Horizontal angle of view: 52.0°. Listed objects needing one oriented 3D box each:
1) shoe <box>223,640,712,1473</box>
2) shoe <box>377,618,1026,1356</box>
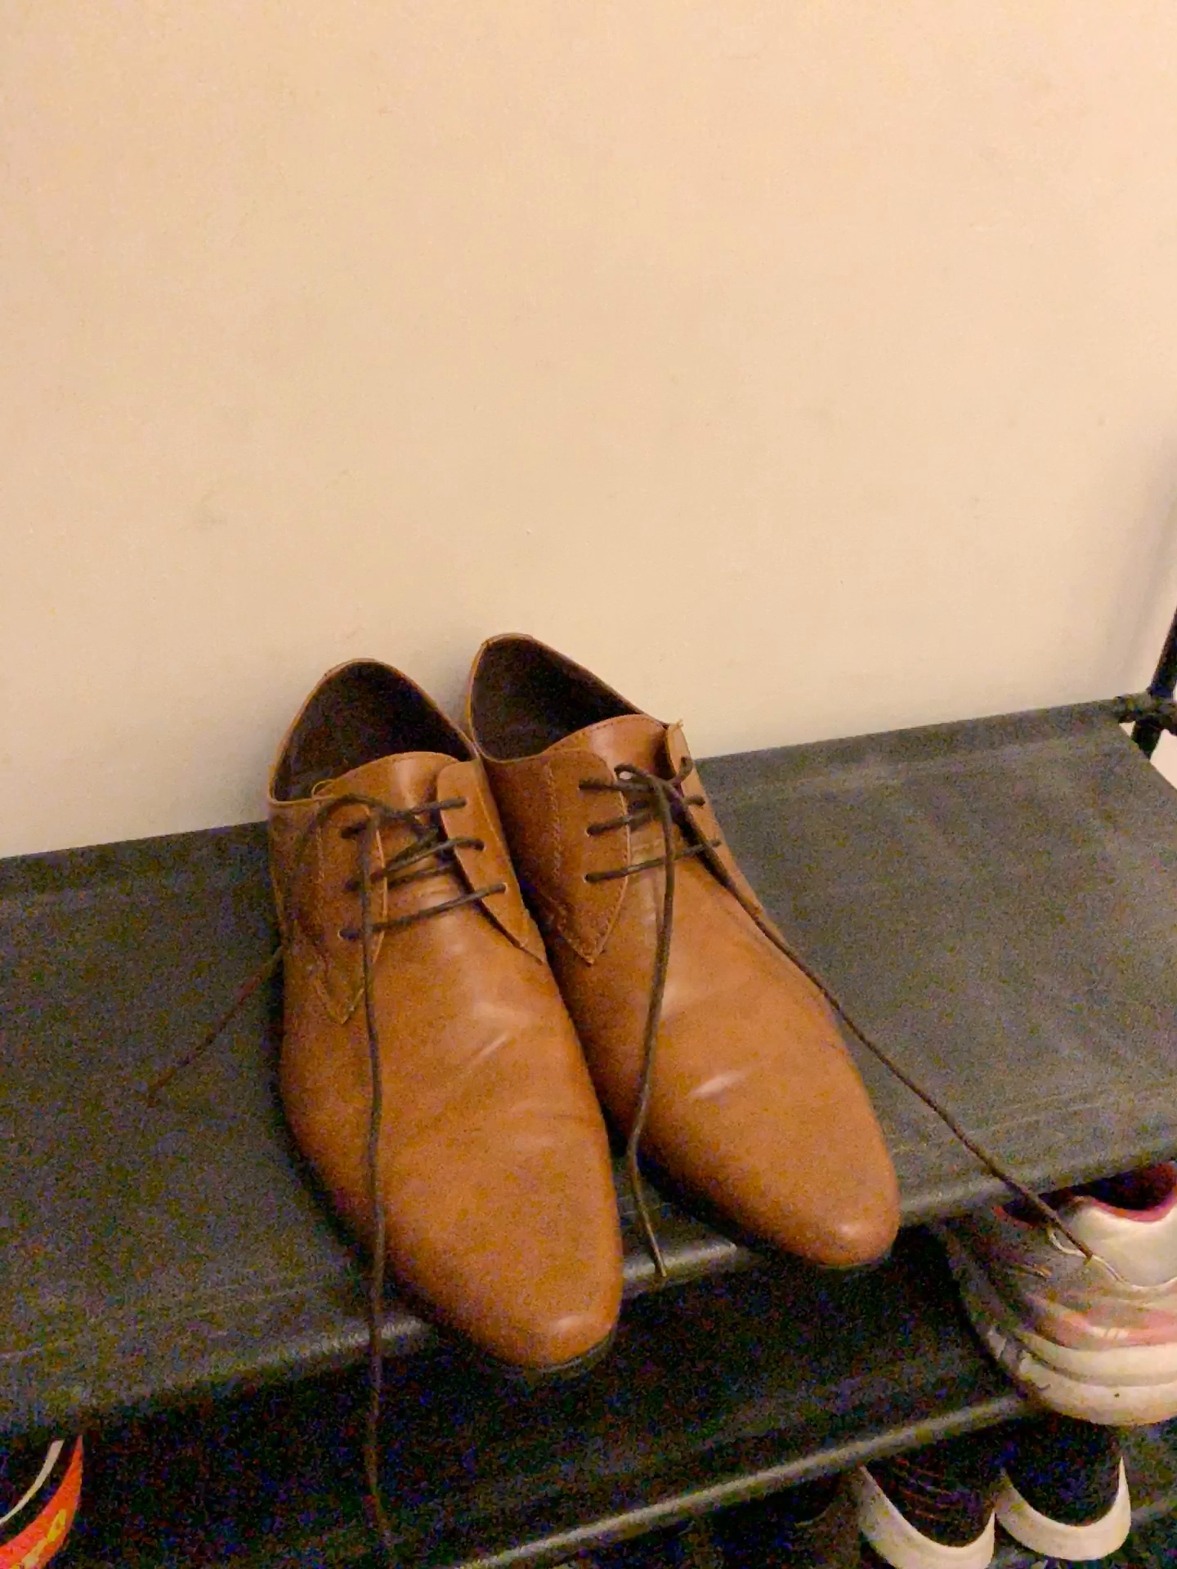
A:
[{"bbox_3d":[-0.064,0.063,0.445,0.100,0.099,0.302,-9,35,-16],"label":"shoe"},{"bbox_3d":[0.016,0.048,0.479,0.100,0.099,0.302,-14,37,-23],"label":"shoe"}]
